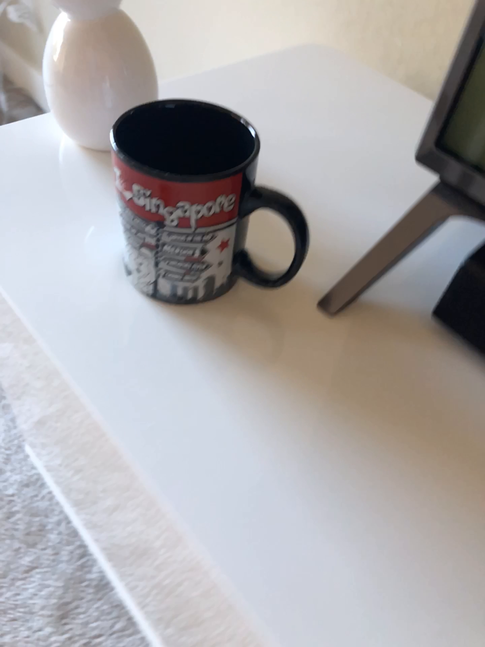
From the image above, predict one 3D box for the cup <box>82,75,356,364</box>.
[{"bbox_3d":[-0.015,-0.062,0.327,0.120,0.110,0.080,25,50,14],"label":"cup"}]
